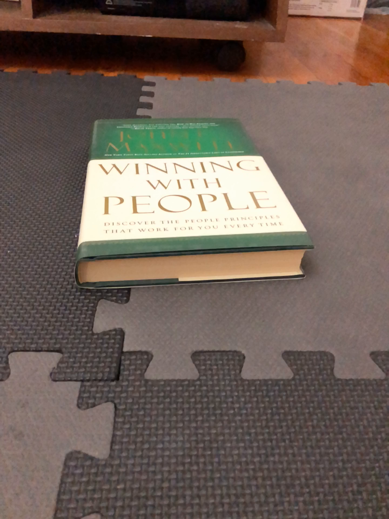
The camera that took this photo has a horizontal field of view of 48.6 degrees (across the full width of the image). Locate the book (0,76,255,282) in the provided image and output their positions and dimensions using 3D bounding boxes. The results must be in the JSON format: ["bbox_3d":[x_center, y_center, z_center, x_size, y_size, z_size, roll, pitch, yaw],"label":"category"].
[{"bbox_3d":[-0.082,-0.090,0.343,0.200,0.030,0.292,-1,37,-6],"label":"book"}]
